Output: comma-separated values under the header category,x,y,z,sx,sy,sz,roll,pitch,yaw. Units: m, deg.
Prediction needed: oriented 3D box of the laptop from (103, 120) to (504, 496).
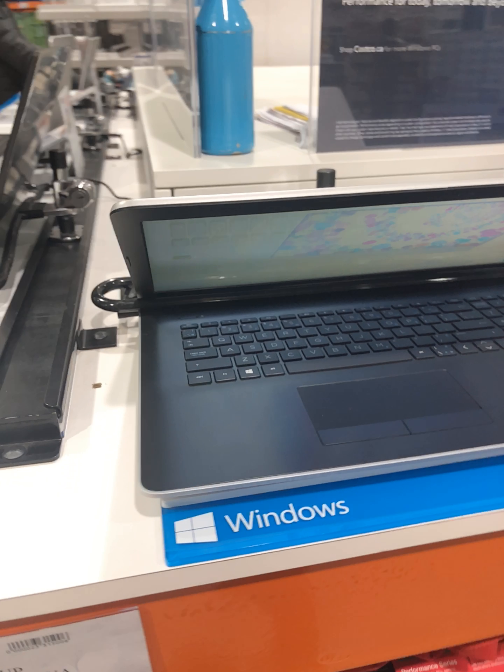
category,x,y,z,sx,sy,sz,roll,pitch,yaw
laptop,0.115,-0.056,0.412,0.405,0.150,0.259,-6,28,-8

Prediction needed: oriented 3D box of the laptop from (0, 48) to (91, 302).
category,x,y,z,sx,sy,sz,roll,pitch,yaw
laptop,-0.385,-0.221,0.663,0.330,0.212,0.342,-6,29,-11
